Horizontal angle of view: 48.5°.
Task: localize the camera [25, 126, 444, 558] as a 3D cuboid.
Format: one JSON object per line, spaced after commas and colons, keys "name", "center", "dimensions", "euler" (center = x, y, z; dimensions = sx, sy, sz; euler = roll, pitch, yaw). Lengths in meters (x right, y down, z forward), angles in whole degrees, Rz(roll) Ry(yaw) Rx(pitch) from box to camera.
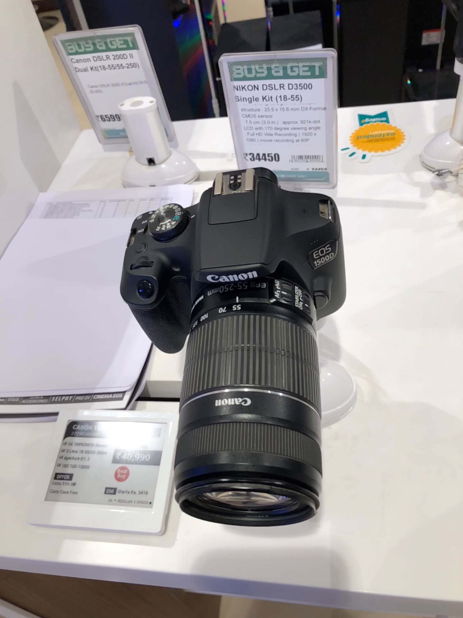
{"name": "camera", "center": [0.006, 0.007, 0.269], "dimensions": [0.140, 0.089, 0.201], "euler": [-5, 49, 8]}
